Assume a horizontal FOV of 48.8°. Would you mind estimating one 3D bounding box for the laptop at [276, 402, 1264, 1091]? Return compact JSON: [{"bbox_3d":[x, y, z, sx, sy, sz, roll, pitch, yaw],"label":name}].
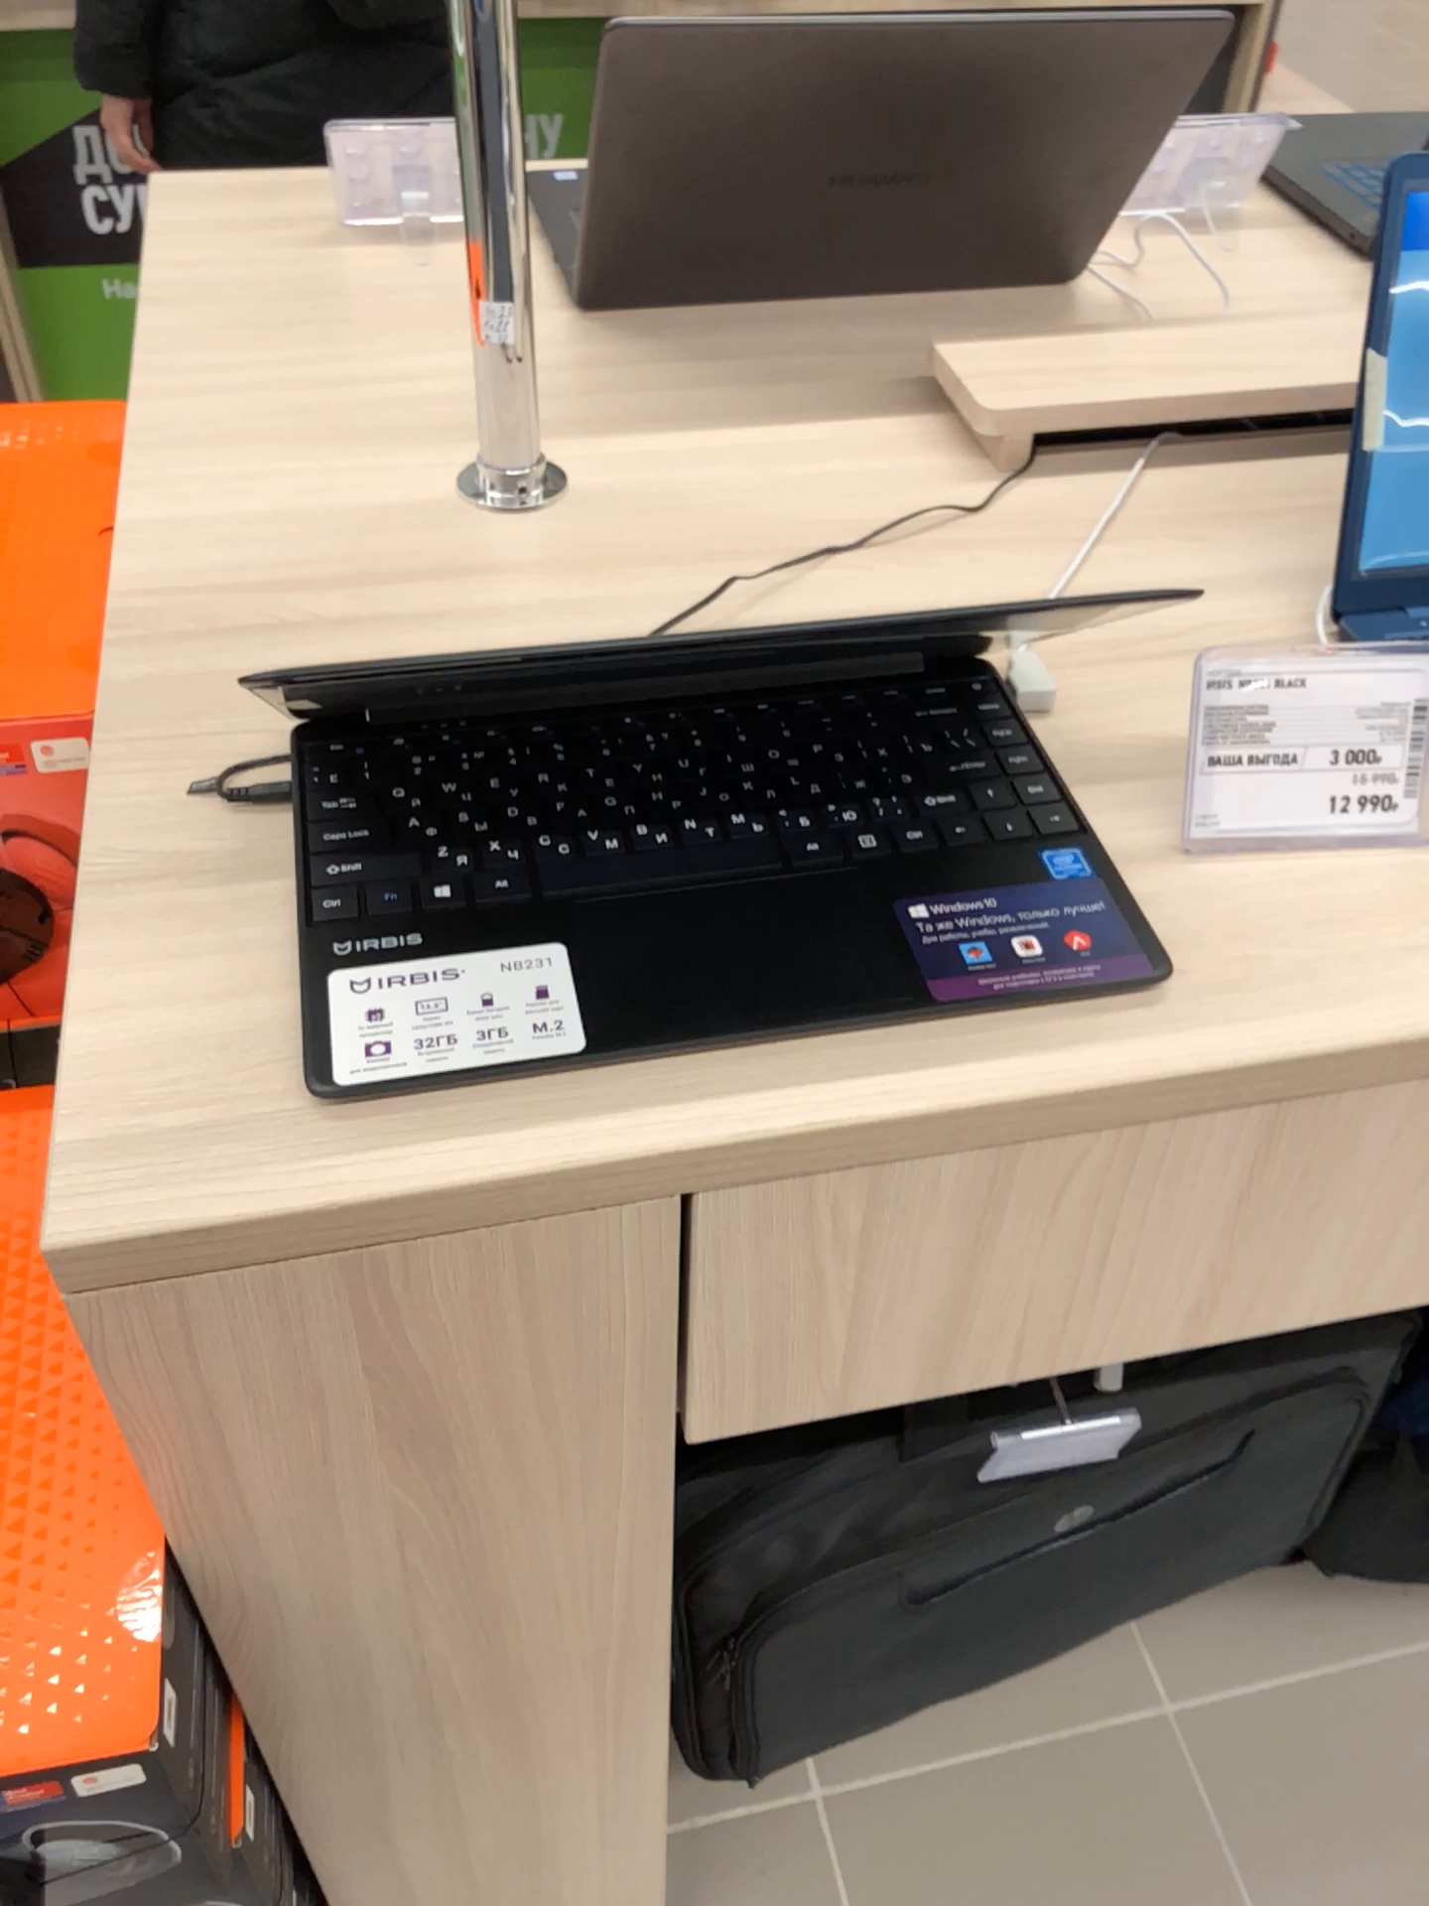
[{"bbox_3d":[0.002,-0.088,0.584,0.299,0.132,0.204,-7,44,-10],"label":"laptop"}]
